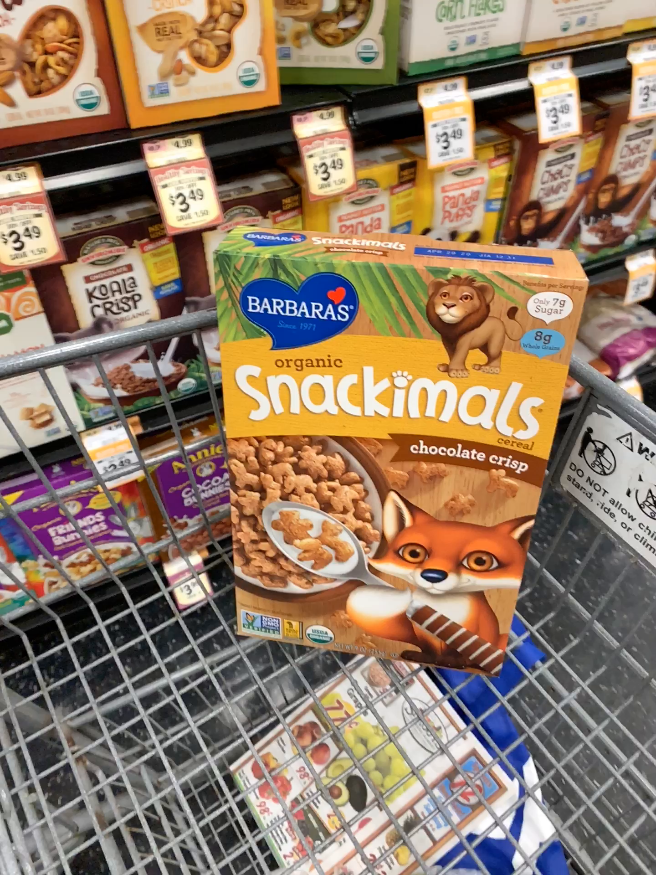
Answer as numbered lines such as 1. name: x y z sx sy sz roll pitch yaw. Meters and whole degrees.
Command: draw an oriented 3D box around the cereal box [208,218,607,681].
1. cereal box: 0.032 0.021 0.397 0.180 0.269 0.050 7 33 7
